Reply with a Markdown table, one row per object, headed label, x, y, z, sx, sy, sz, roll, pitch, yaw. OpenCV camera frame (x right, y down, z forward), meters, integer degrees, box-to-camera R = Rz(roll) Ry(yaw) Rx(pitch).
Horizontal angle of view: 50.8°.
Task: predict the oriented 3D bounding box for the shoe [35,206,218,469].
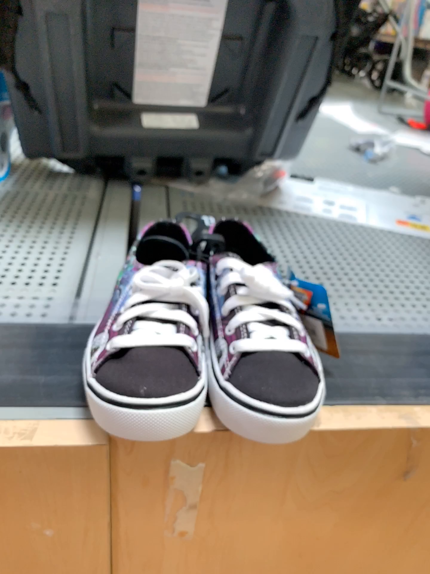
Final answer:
| label | x | y | z | sx | sy | sz | roll | pitch | yaw |
| --- | --- | --- | --- | --- | --- | --- | --- | --- | --- |
| shoe | -0.050 | 0.018 | 0.335 | 0.091 | 0.073 | 0.208 | 5 | 32 | -4 |

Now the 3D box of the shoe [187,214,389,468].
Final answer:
| label | x | y | z | sx | sy | sz | roll | pitch | yaw |
| --- | --- | --- | --- | --- | --- | --- | --- | --- | --- |
| shoe | 0.035 | 0.022 | 0.351 | 0.089 | 0.073 | 0.214 | 1 | 32 | -10 |
